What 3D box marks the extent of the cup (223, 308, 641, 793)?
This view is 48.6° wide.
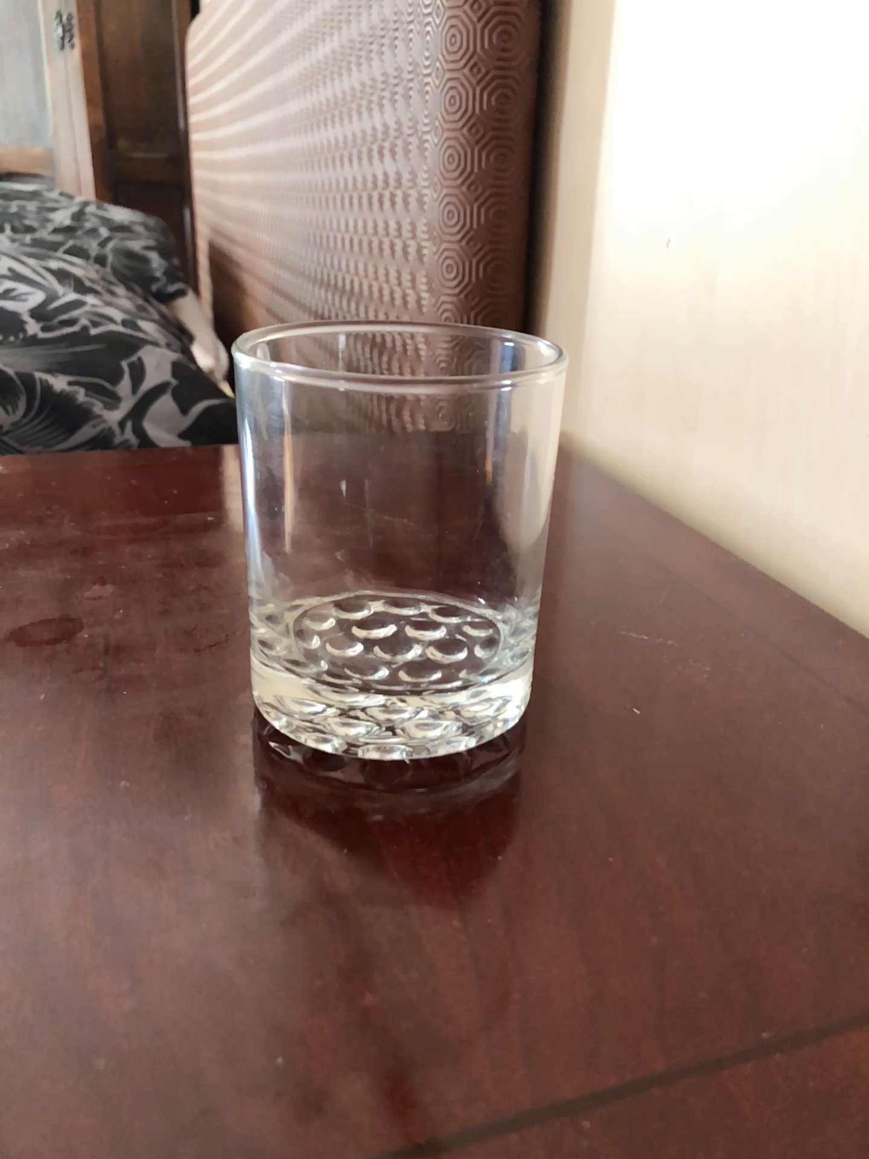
[{"bbox_3d":[-0.006,-0.013,0.242,0.082,0.097,0.081,2,22,-1],"label":"cup"}]
